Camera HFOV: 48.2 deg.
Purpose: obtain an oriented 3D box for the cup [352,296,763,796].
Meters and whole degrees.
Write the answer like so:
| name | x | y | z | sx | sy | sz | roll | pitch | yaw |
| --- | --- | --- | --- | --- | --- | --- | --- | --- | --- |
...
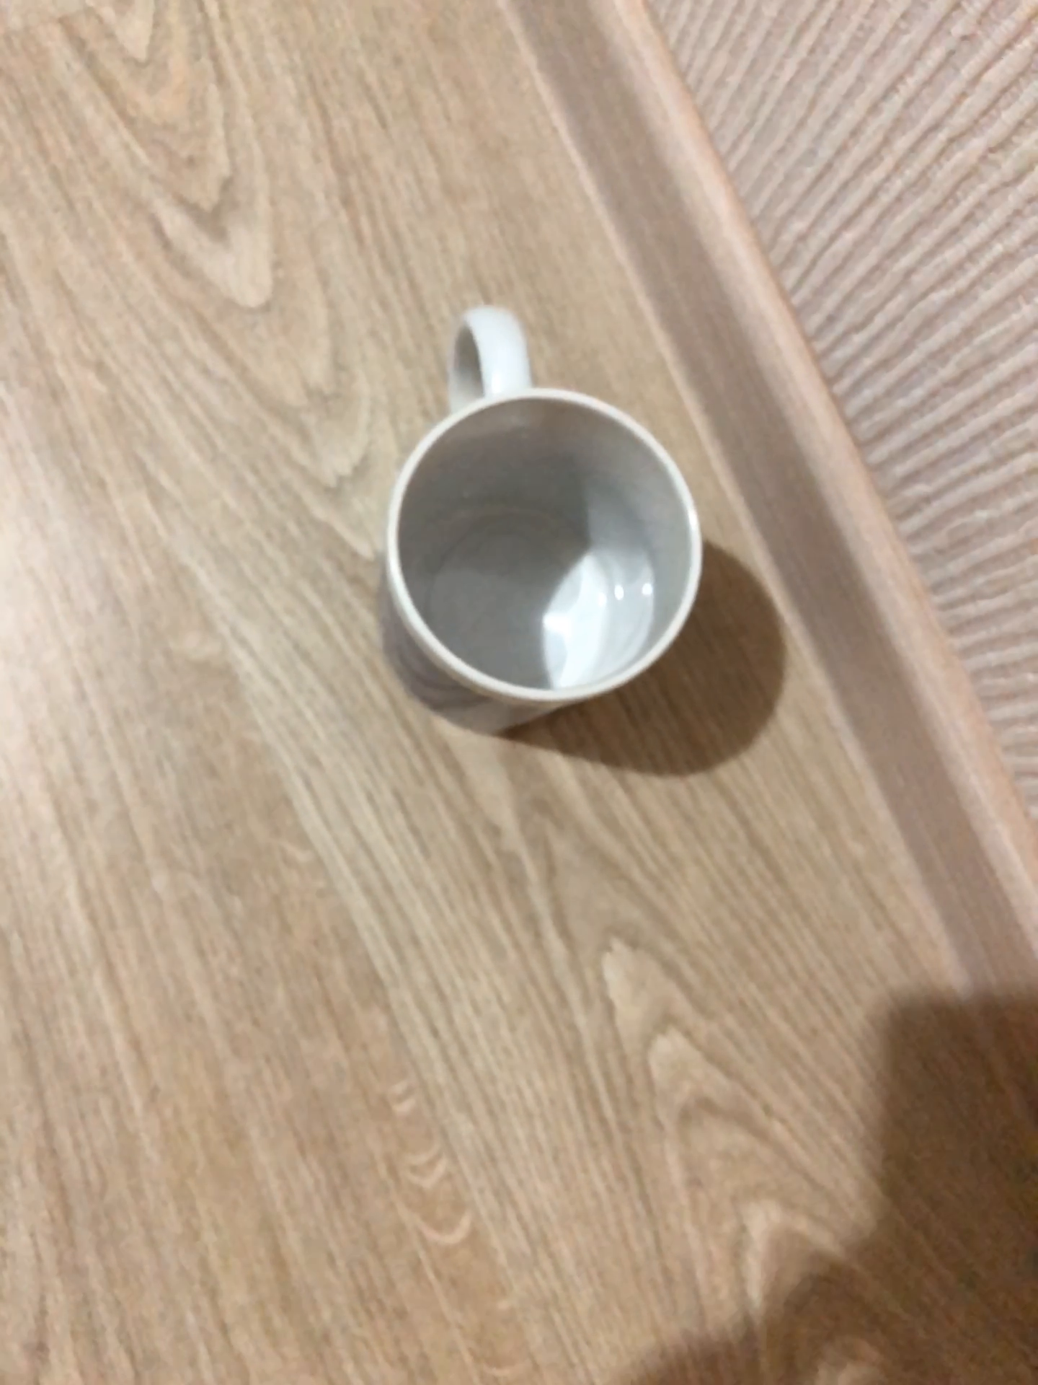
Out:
| name | x | y | z | sx | sy | sz | roll | pitch | yaw |
| --- | --- | --- | --- | --- | --- | --- | --- | --- | --- |
| cup | 0.003 | -0.037 | 0.347 | 0.093 | 0.099 | 0.123 | -4 | 83 | -10 |
